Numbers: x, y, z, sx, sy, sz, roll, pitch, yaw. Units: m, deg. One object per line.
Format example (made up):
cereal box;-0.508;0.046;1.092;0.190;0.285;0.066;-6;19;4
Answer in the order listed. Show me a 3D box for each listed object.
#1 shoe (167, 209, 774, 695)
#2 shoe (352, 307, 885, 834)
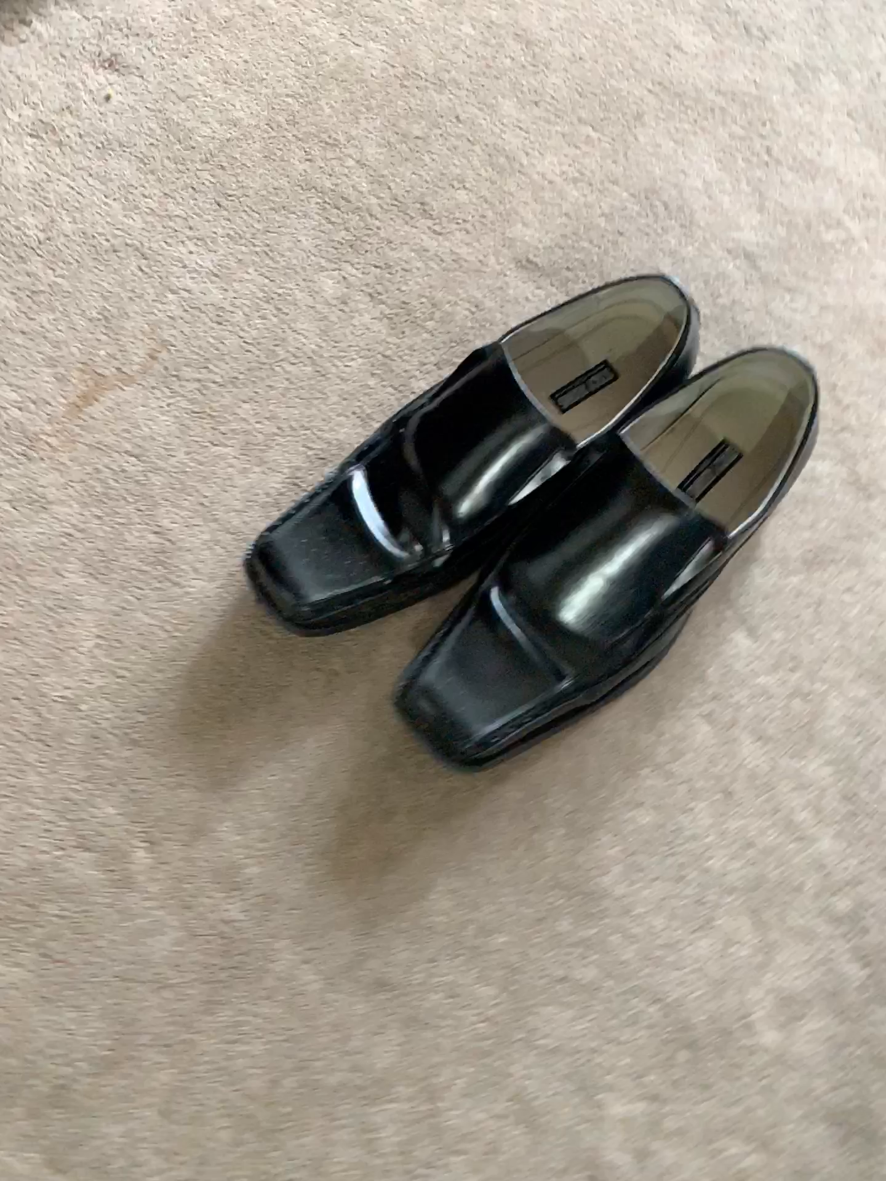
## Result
shoe;0.018;-0.079;0.549;0.320;0.120;0.110;-32;77;-9
shoe;0.104;-0.007;0.538;0.310;0.120;0.110;-41;79;-11
